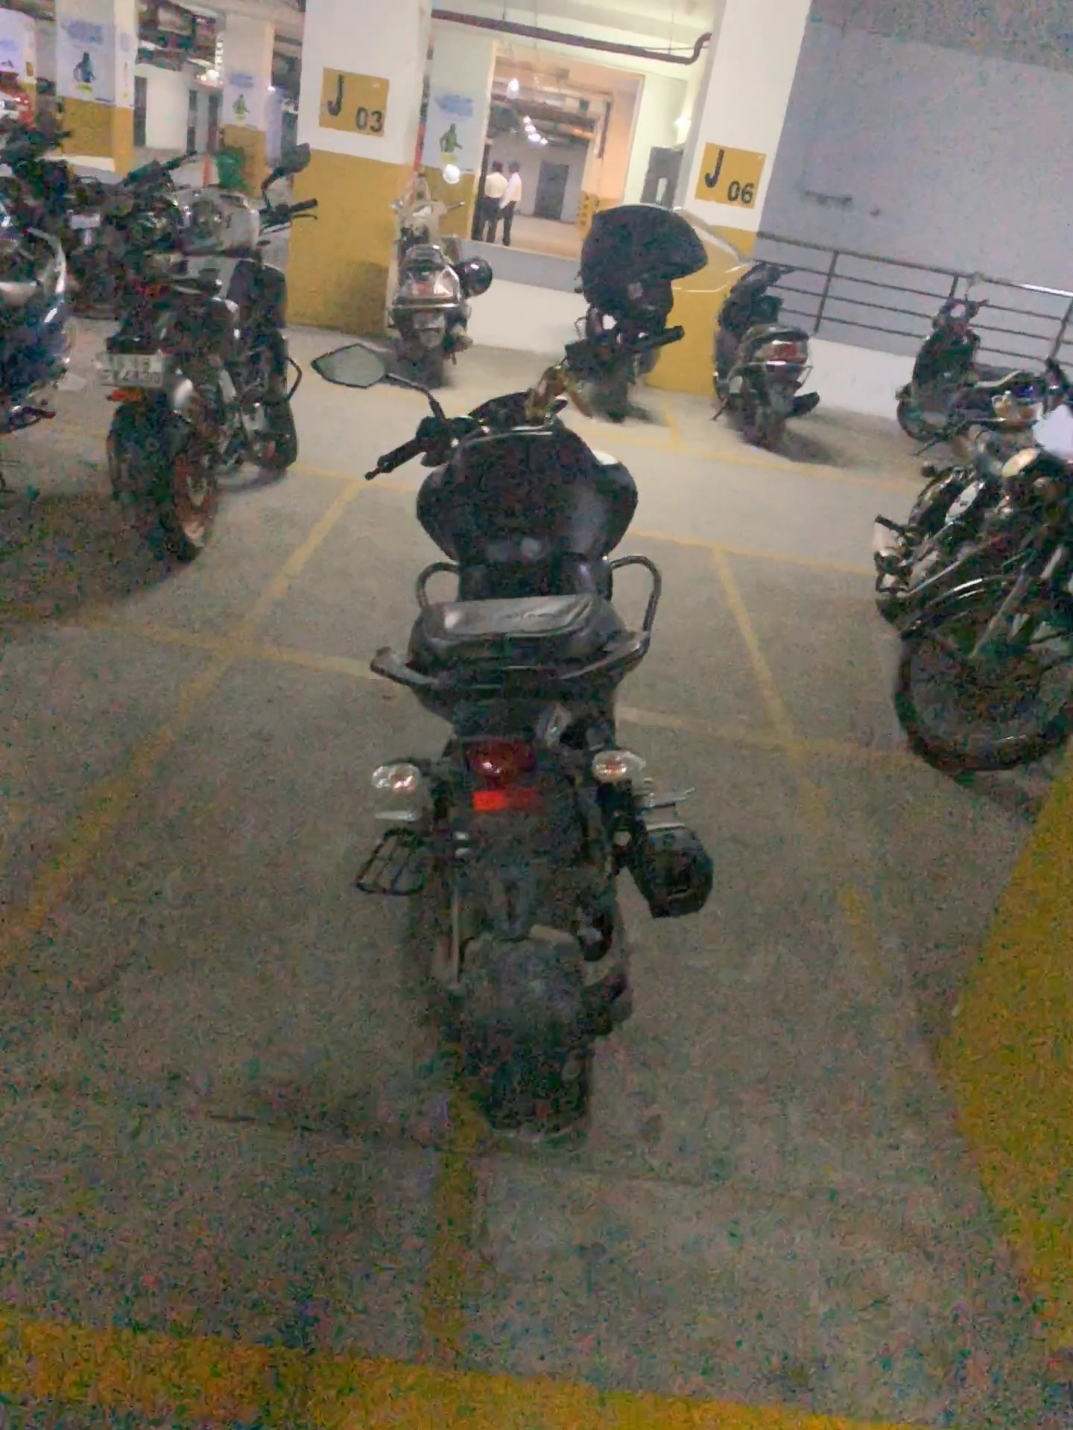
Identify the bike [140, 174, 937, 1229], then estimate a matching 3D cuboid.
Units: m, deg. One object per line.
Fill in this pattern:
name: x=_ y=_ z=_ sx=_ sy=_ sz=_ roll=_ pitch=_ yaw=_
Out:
bike: x=-0.174 y=-0.251 z=2.070 sx=0.785 sy=1.096 sz=1.744 roll=6 pitch=29 yaw=-11
